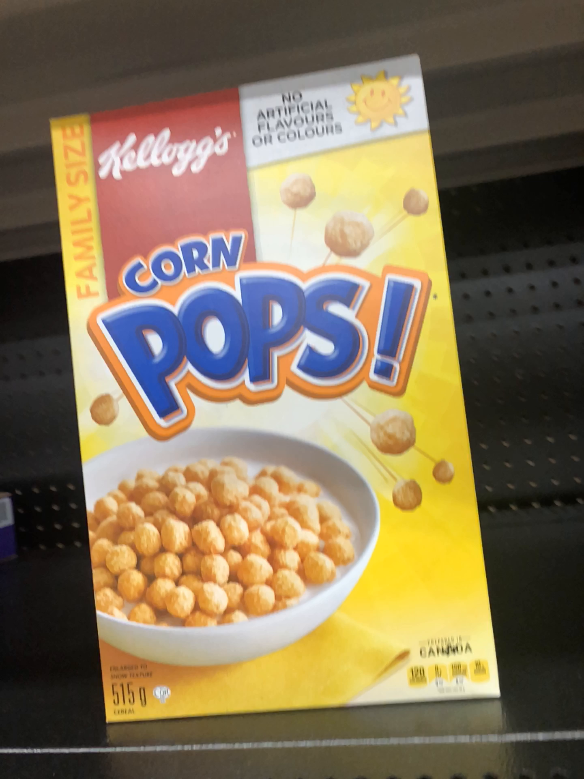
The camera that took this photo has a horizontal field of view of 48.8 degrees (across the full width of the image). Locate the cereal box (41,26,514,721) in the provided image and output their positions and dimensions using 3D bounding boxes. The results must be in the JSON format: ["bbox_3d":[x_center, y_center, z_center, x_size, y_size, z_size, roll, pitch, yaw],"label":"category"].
[{"bbox_3d":[-0.010,-0.007,0.360,0.200,0.320,0.090,-7,-4,6],"label":"cereal box"}]
